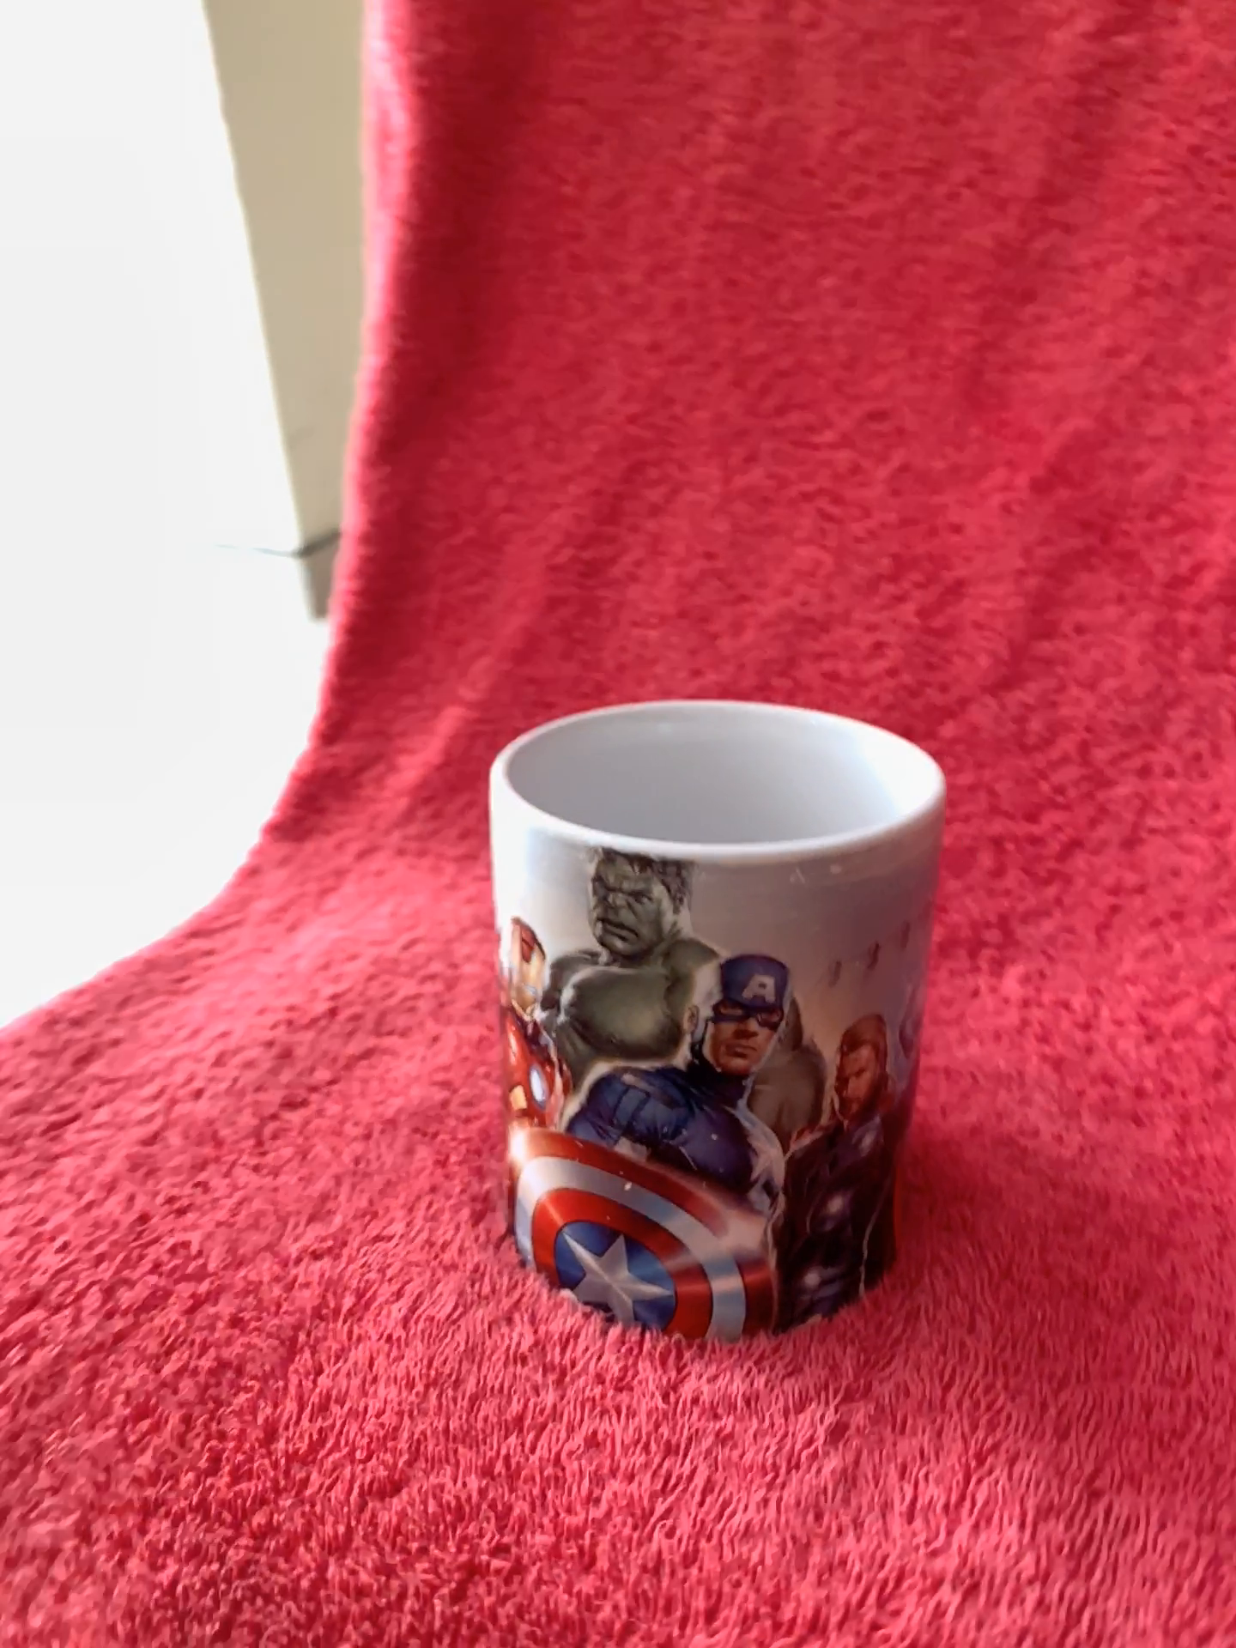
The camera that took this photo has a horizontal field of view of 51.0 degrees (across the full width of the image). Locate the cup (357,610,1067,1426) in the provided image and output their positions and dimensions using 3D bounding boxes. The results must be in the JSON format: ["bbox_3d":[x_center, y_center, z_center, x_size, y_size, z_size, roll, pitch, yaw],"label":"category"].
[{"bbox_3d":[0.023,0.023,0.255,0.090,0.089,0.121,15,27,23],"label":"cup"}]
